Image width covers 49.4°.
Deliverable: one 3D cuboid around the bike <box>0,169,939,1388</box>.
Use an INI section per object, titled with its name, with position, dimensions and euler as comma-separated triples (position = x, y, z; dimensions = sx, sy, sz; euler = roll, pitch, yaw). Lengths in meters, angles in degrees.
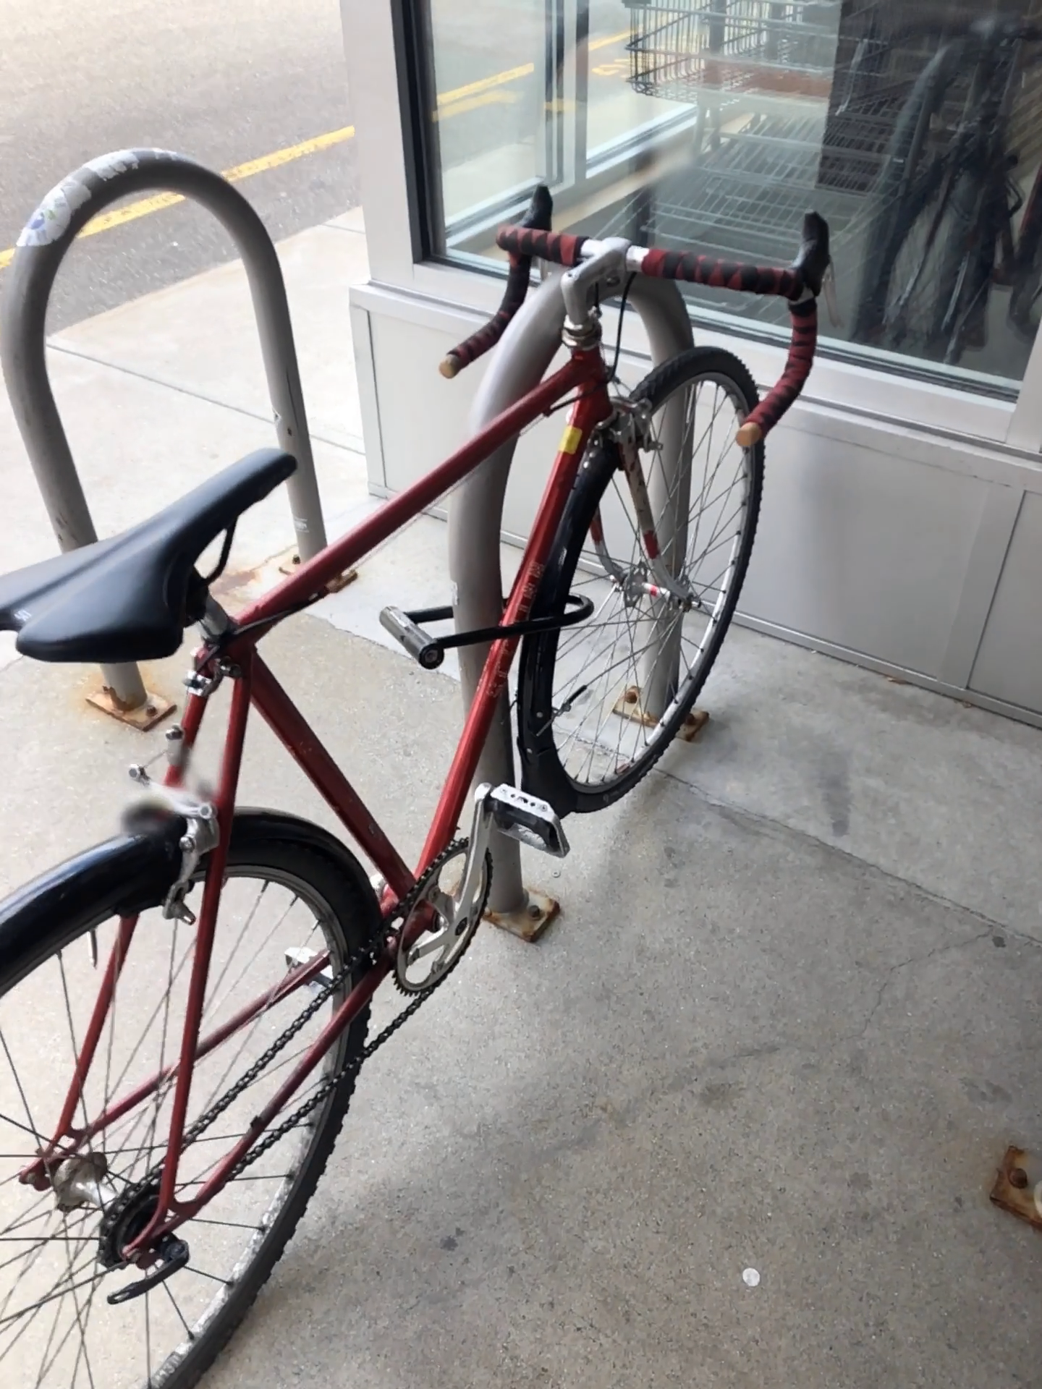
[bike]
position = -0.097, 0.115, 1.300
dimensions = 0.458, 0.788, 1.697
euler = 22, 48, 24
